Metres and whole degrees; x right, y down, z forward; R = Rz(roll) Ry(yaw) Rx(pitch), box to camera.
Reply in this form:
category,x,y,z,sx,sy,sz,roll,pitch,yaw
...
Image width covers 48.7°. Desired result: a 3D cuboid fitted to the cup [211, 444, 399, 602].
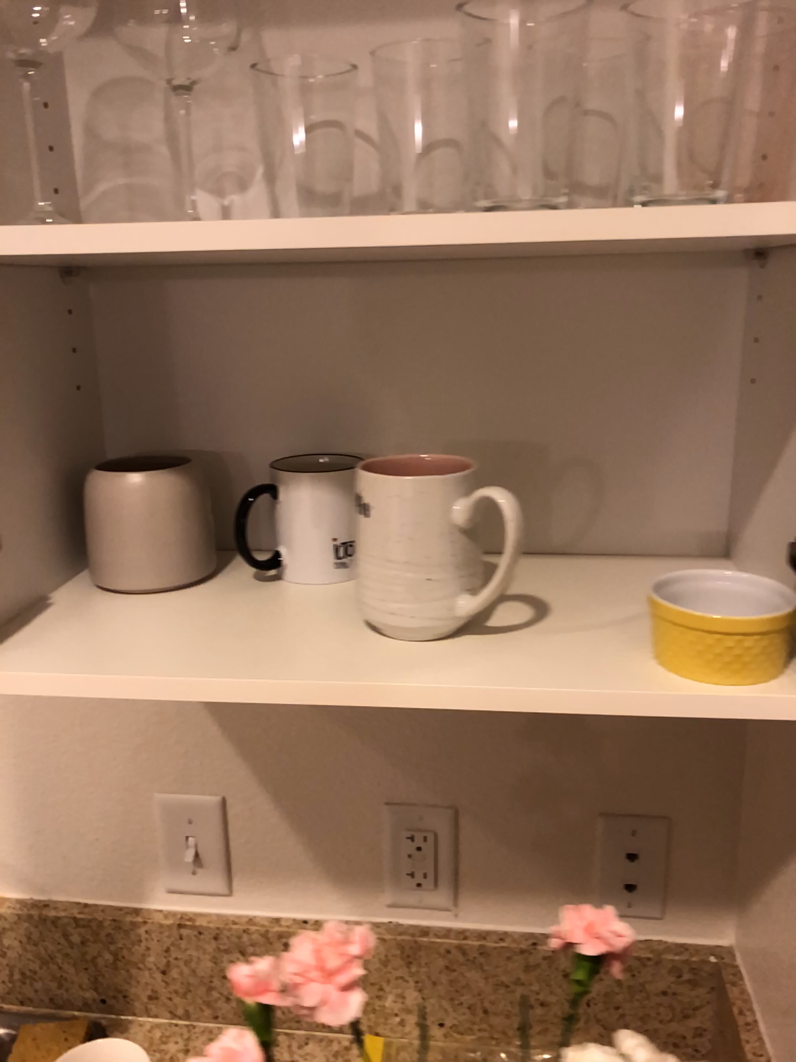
category,x,y,z,sx,sy,sz,roll,pitch,yaw
cup,-0.071,-0.011,0.680,0.110,0.090,0.090,-11,18,-33

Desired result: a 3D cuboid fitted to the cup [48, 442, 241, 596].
category,x,y,z,sx,sy,sz,roll,pitch,yaw
cup,-0.201,-0.015,0.728,0.110,0.090,0.151,-1,15,0

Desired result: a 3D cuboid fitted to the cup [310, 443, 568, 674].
category,x,y,z,sx,sy,sz,roll,pitch,yaw
cup,0.026,0.009,0.577,0.140,0.110,0.090,12,20,41
